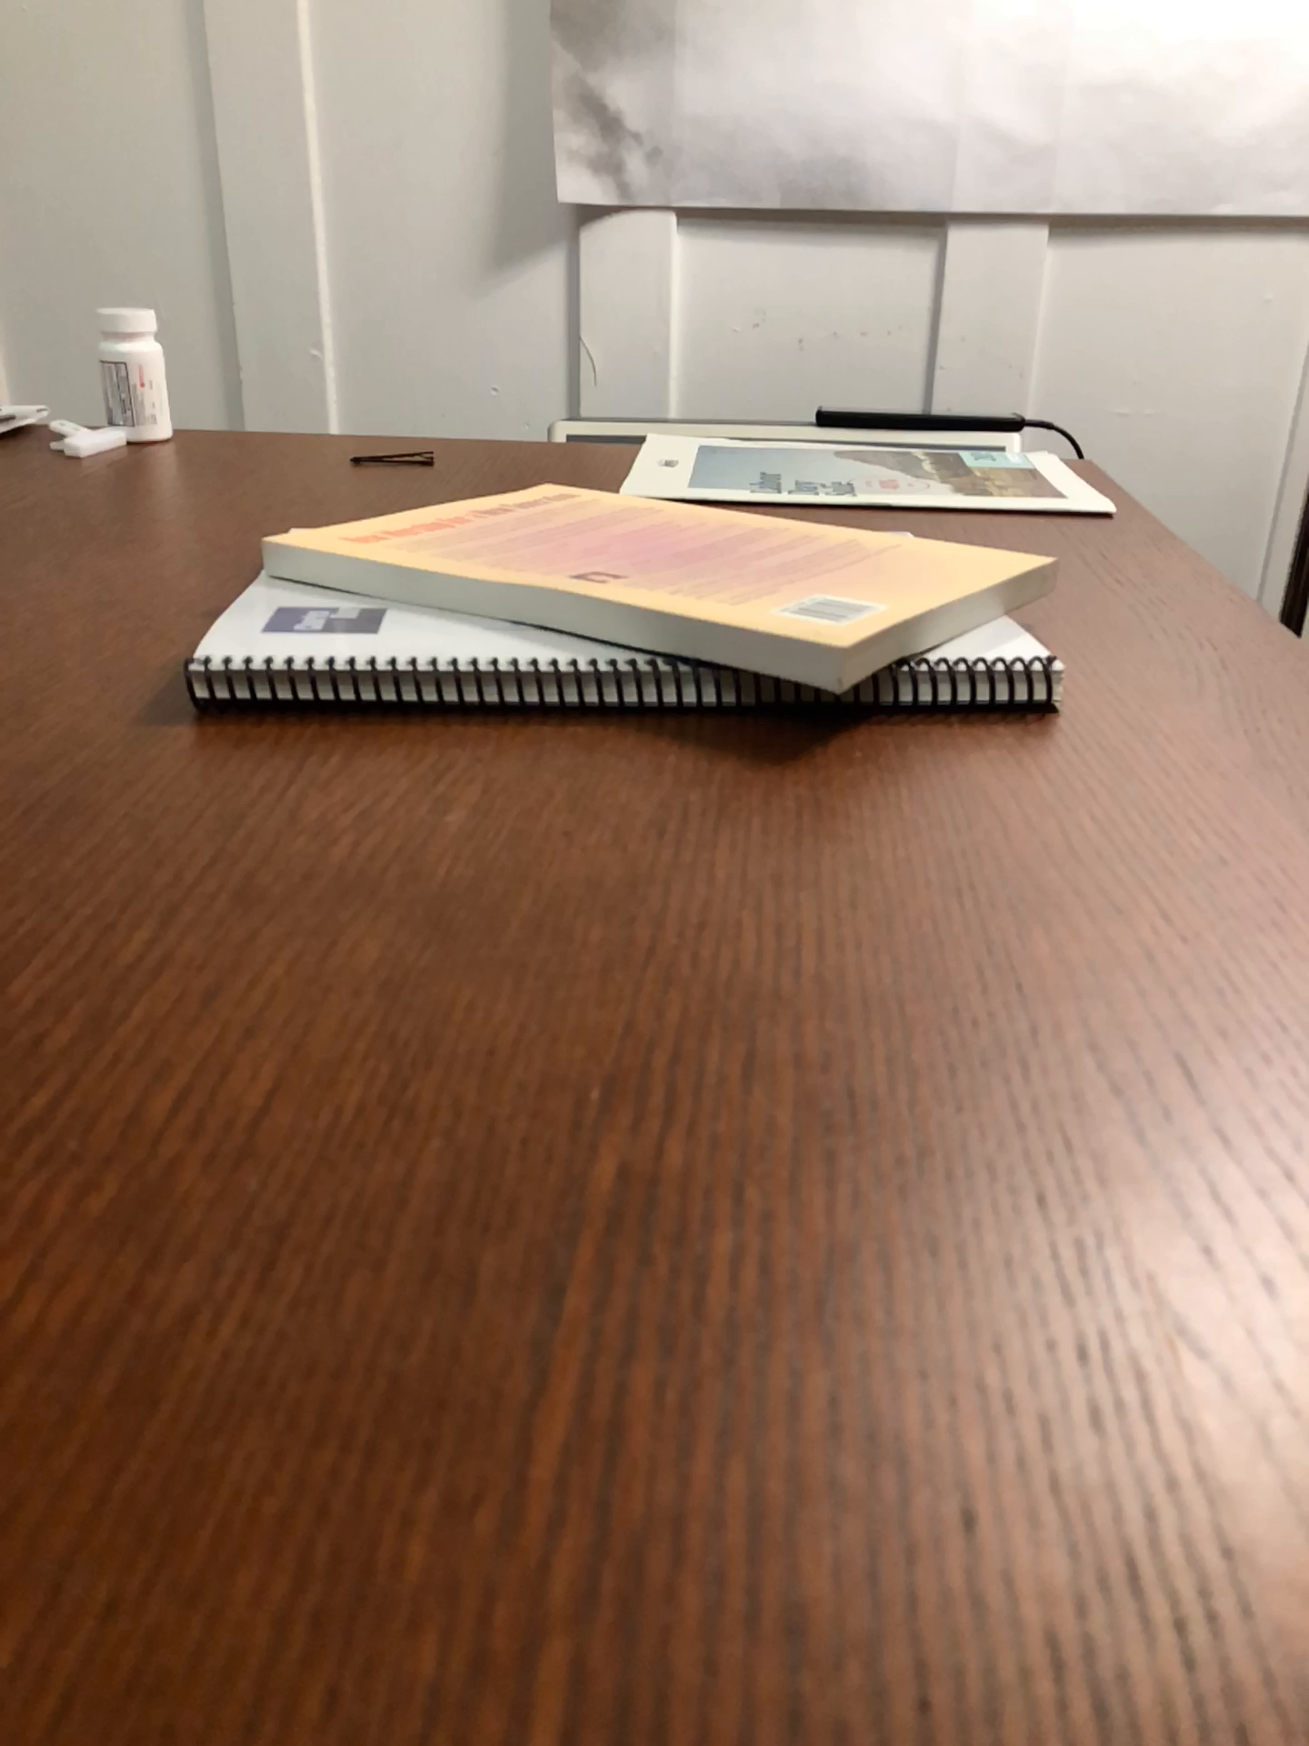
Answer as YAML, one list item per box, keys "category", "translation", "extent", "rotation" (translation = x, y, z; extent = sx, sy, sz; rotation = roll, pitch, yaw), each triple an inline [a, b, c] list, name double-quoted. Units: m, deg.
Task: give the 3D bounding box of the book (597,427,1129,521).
- category: "book"
  translation: [0.111, -0.232, 0.824]
  extent: [0.270, 0.010, 0.201]
  rotation: [3, 25, 2]

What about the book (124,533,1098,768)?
- category: "book"
  translation: [-0.018, -0.091, 0.535]
  extent: [0.290, 0.020, 0.231]
  rotation: [-1, 25, -5]

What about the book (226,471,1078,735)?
- category: "book"
  translation: [0.001, -0.115, 0.546]
  extent: [0.260, 0.020, 0.191]
  rotation: [17, 30, 30]
